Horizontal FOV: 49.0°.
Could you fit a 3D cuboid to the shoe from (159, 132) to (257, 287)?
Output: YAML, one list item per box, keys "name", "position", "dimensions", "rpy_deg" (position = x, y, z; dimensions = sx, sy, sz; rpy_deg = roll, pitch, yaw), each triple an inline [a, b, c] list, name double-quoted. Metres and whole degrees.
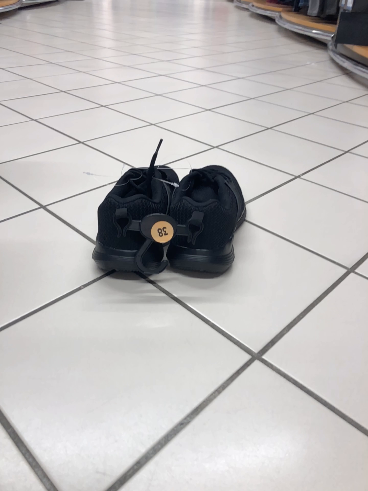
- name: "shoe"
  position: [0.042, -0.068, 0.584]
  dimensions: [0.100, 0.109, 0.252]
  rpy_deg: [8, 34, 8]

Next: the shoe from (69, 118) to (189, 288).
- name: "shoe"
  position: [-0.059, -0.078, 0.568]
  dimensions: [0.100, 0.119, 0.272]
  rpy_deg: [5, 33, 4]
